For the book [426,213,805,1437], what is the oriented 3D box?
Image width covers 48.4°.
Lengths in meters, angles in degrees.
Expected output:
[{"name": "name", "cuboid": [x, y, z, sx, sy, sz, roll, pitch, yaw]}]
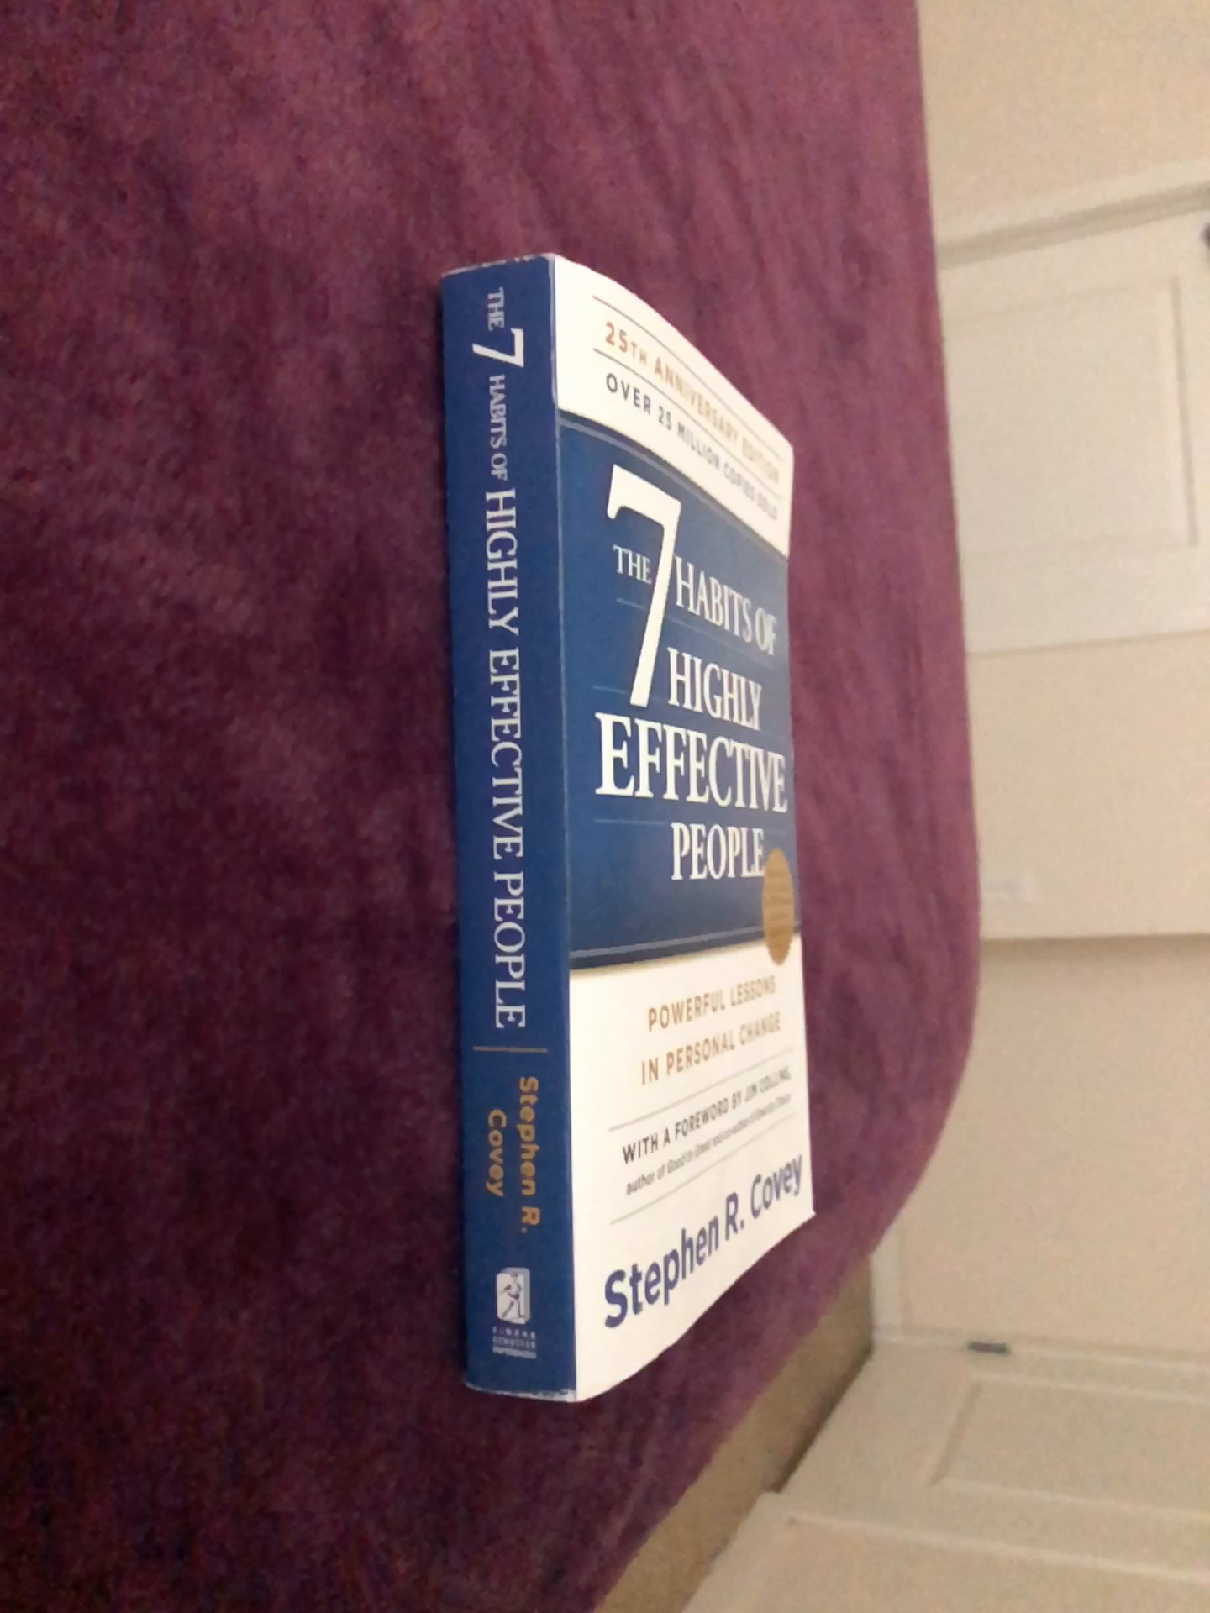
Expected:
[{"name": "book", "cuboid": [0.010, 0.004, 0.311, 0.147, 0.028, 0.217, 6, 83, -66]}]
